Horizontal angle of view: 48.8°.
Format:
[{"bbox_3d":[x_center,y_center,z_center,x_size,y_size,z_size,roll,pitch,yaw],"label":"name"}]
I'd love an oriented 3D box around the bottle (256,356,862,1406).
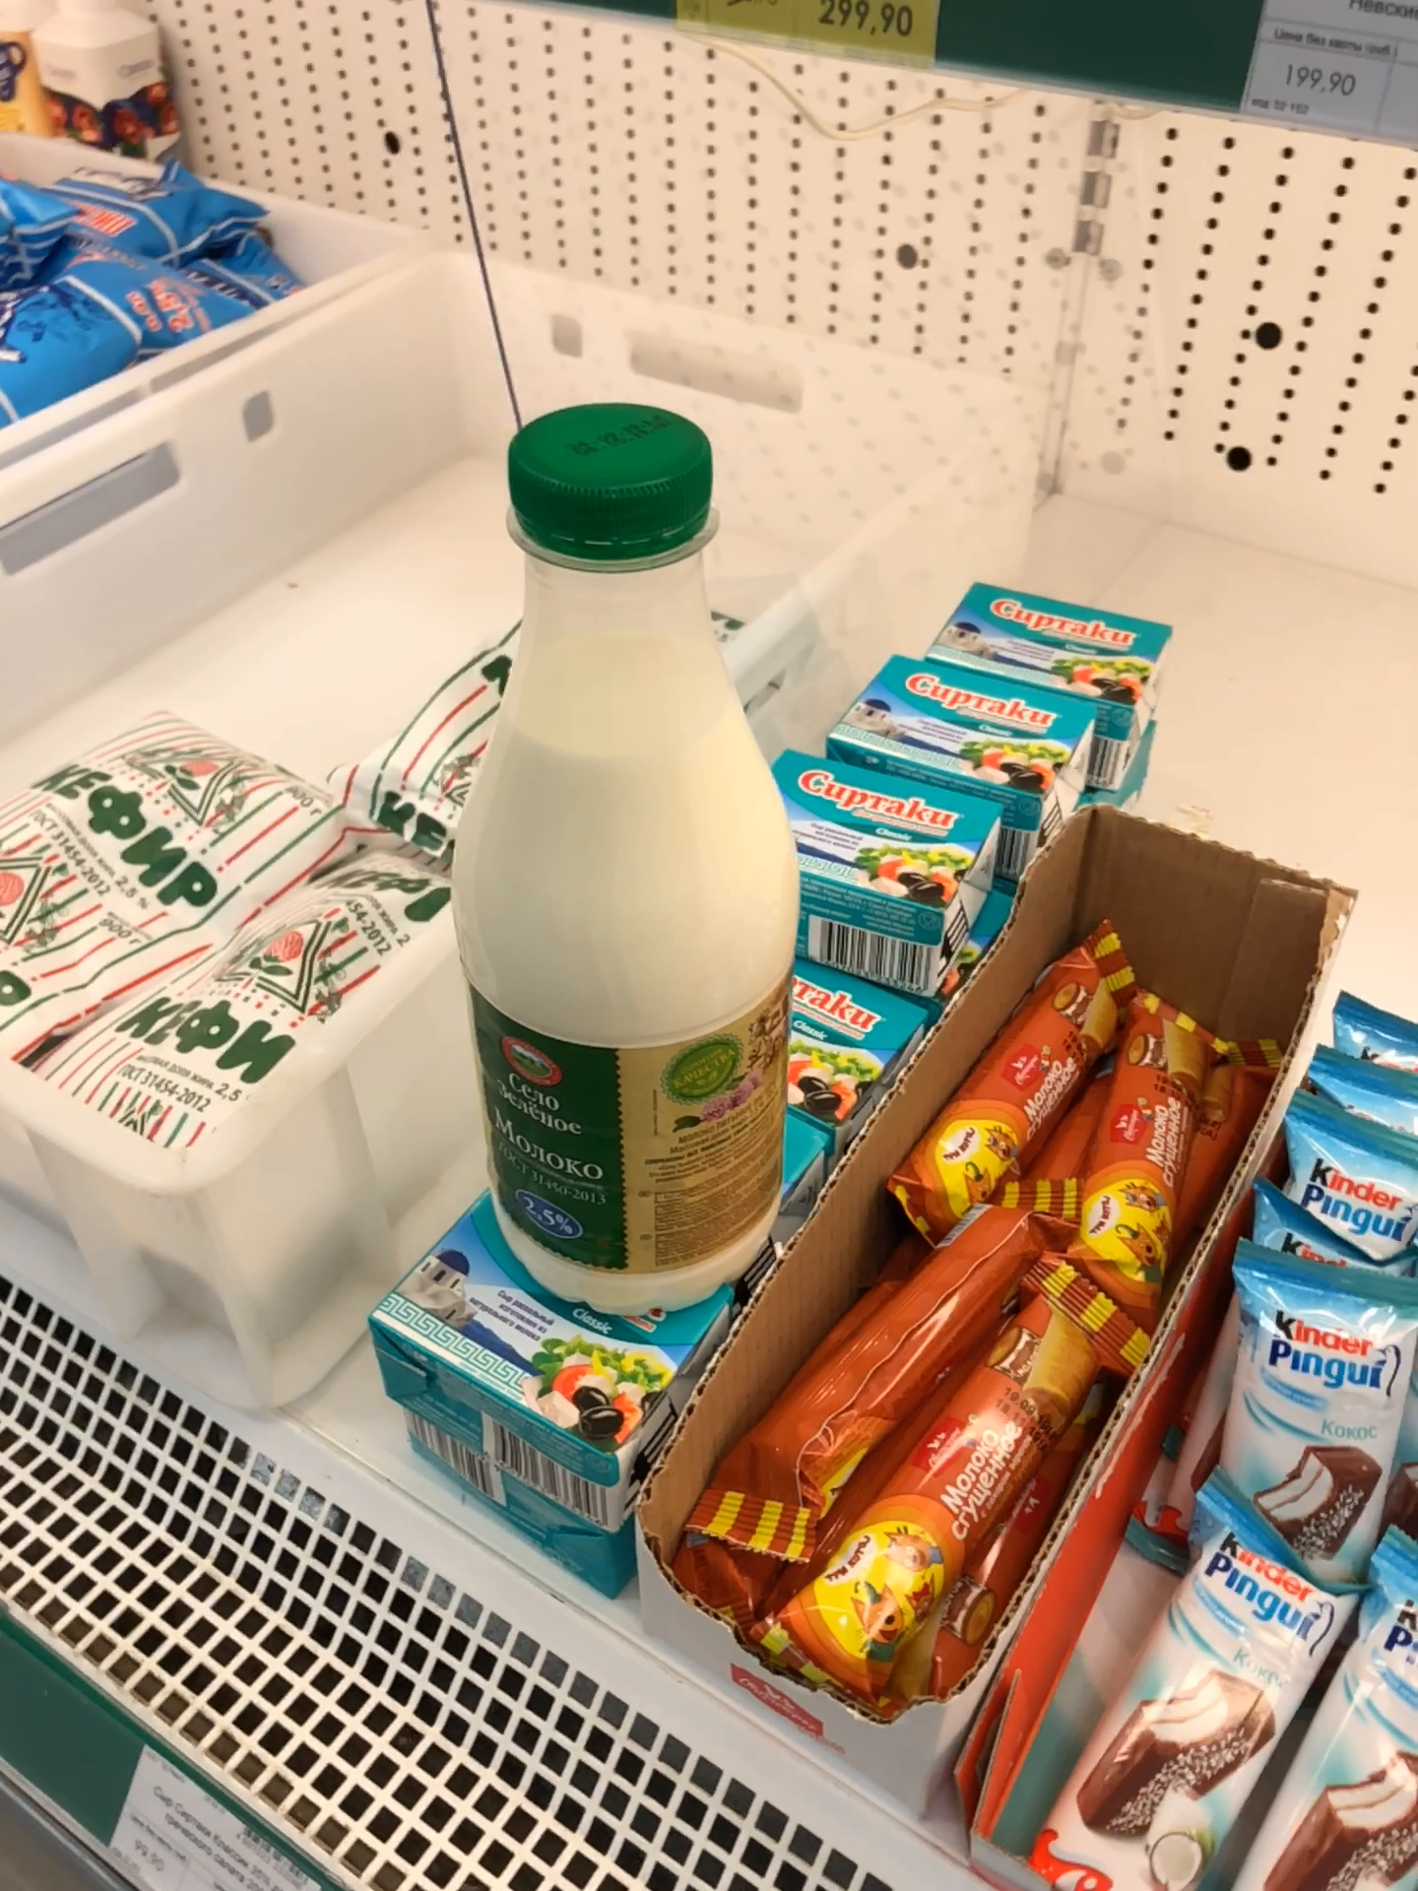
[{"bbox_3d":[-0.026,-0.003,0.383,0.081,0.238,0.085,0,43,0],"label":"bottle"}]
